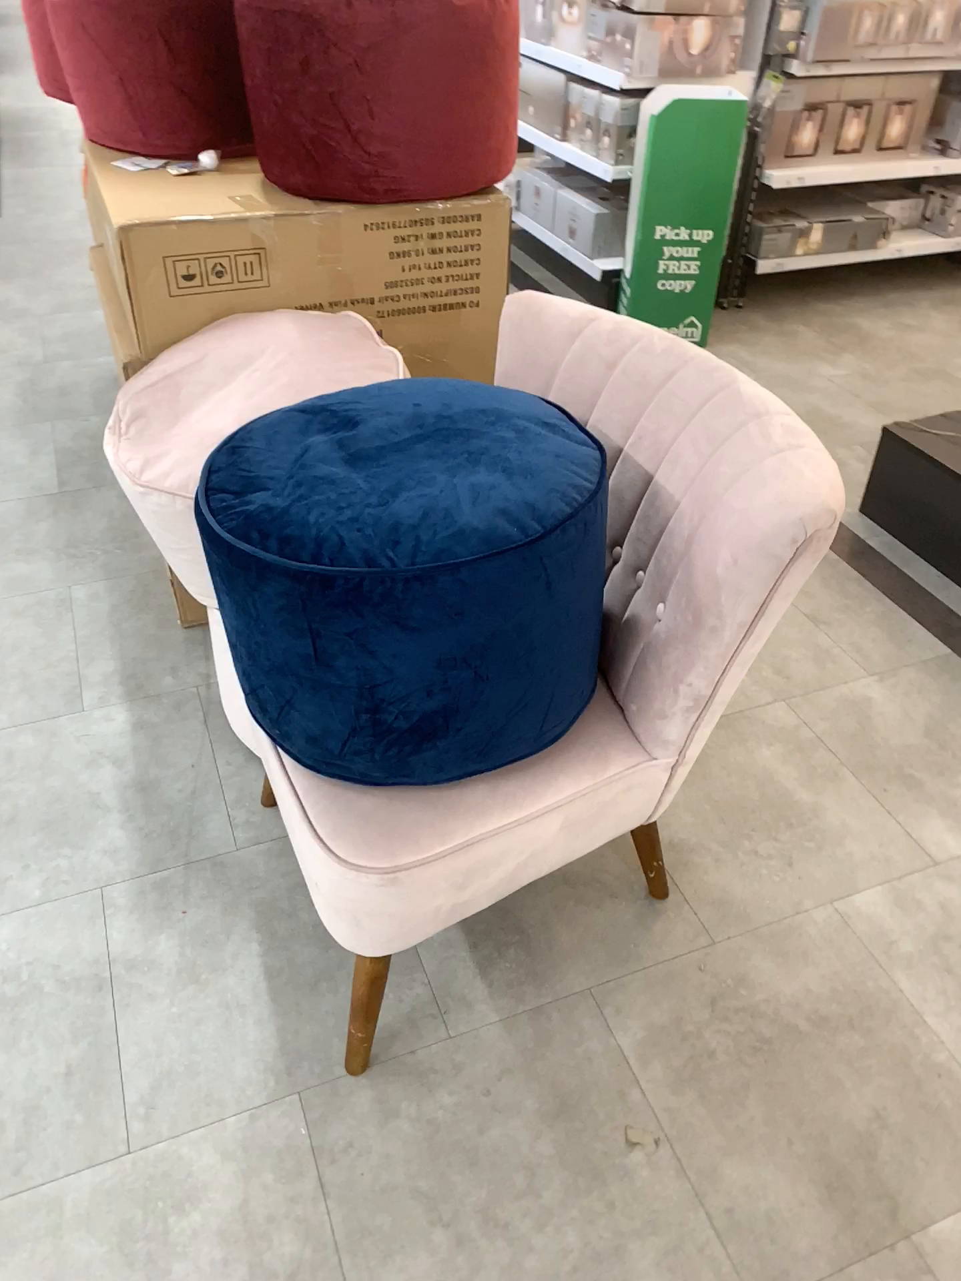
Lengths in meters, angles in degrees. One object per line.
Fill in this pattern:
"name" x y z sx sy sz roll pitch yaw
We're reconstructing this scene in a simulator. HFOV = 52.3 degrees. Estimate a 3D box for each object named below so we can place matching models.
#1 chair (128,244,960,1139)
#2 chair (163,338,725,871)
"chair" 0.025 0.025 1.340 0.745 0.848 0.660 -13 40 -19
"chair" -0.076 -0.081 1.201 0.504 0.363 0.479 -11 40 -16
